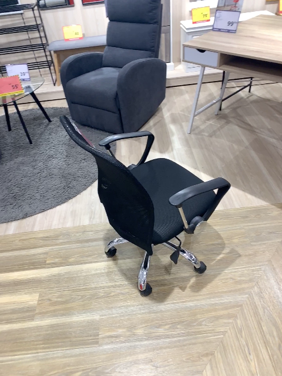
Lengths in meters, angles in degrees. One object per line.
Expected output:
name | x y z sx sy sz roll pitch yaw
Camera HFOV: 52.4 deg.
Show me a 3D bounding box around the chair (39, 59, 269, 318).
chair | 0.049 -0.016 1.364 0.601 0.865 0.643 -28 45 -23
